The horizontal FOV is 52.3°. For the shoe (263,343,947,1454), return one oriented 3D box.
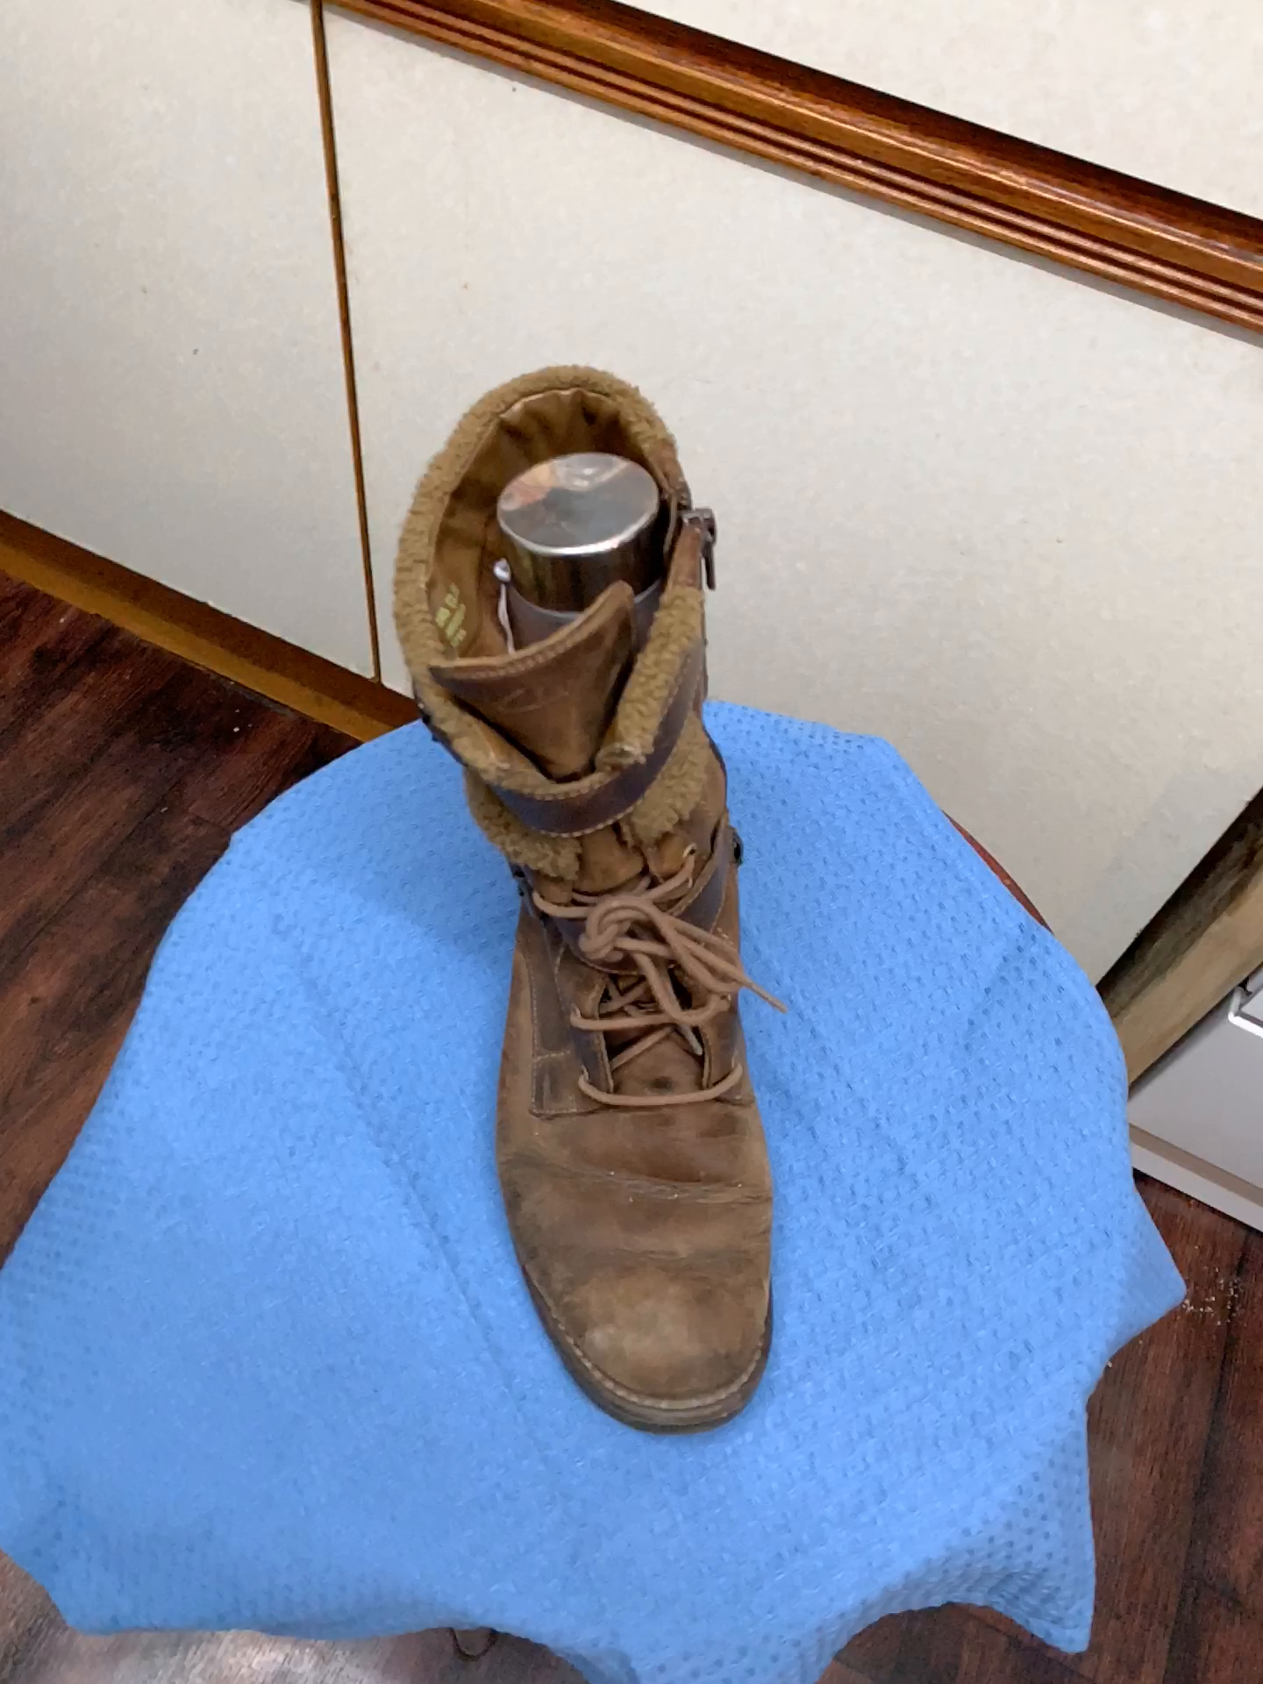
[{"bbox_3d":[-0.004,0.027,0.391,0.120,0.228,0.252,-2,55,1],"label":"shoe"}]
